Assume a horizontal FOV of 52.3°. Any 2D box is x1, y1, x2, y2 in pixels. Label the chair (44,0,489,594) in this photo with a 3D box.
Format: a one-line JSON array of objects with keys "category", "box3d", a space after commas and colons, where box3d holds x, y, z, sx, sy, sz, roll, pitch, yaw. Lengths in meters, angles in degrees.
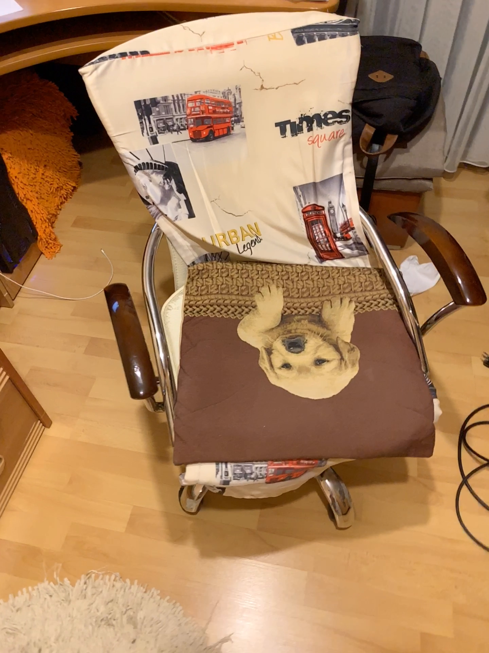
[{"category": "chair", "box3d": [0.044, -0.020, 0.795, 0.475, 0.665, 0.567, -13, 53, -10]}]
